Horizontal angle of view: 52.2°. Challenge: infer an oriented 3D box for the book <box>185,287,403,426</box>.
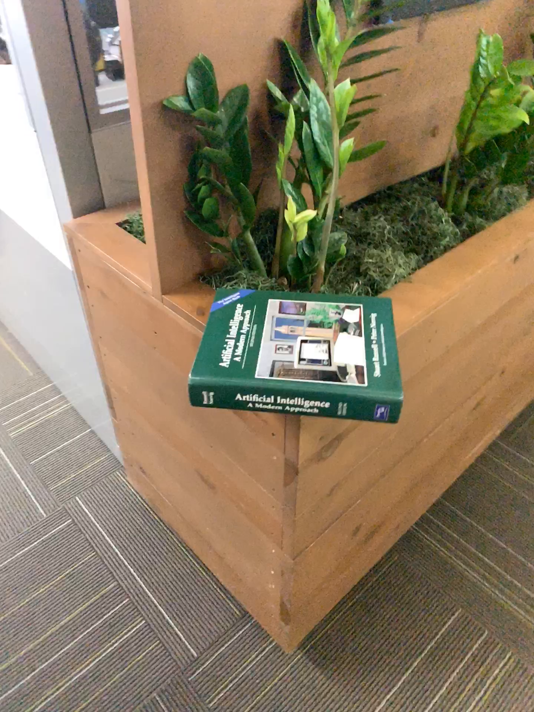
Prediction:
[{"bbox_3d":[0.041,-0.009,0.745,0.260,0.050,0.211,4,40,5],"label":"book"}]
